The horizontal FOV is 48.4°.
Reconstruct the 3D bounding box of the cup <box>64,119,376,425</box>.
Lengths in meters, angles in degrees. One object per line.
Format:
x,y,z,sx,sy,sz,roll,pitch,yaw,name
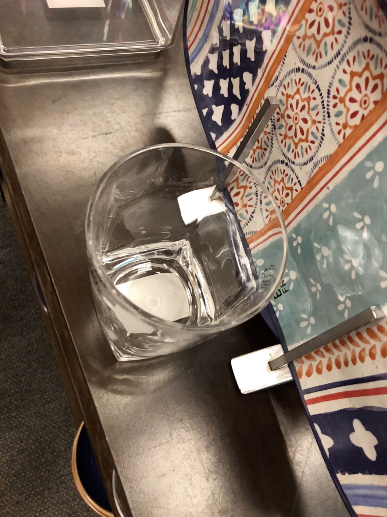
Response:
-0.001,0.012,0.238,0.108,0.111,0.114,6,66,-14,cup
